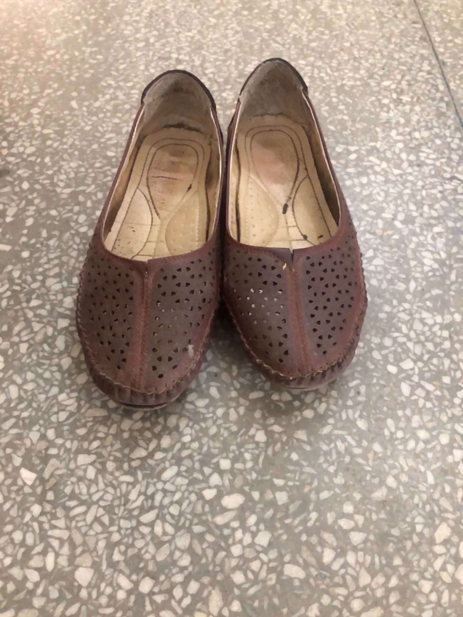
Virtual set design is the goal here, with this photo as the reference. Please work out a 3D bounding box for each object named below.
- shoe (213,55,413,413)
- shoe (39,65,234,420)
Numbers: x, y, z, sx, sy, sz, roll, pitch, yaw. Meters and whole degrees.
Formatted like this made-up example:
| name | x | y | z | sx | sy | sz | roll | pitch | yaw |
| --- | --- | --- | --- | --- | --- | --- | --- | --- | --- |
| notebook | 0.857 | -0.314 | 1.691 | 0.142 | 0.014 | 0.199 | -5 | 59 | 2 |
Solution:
| name | x | y | z | sx | sy | sz | roll | pitch | yaw |
| --- | --- | --- | --- | --- | --- | --- | --- | --- | --- |
| shoe | 0.036 | -0.064 | 0.338 | 0.090 | 0.060 | 0.251 | -2 | 57 | -1 |
| shoe | -0.046 | -0.058 | 0.340 | 0.090 | 0.060 | 0.251 | 1 | 57 | 0 |
